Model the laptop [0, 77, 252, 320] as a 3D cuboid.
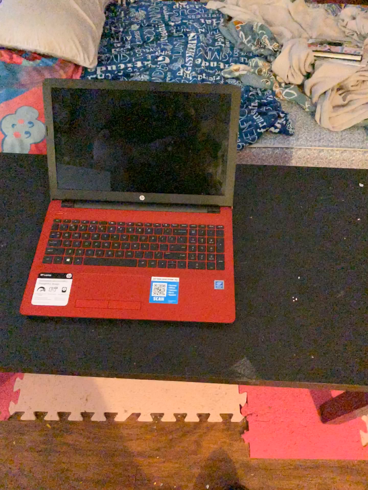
[{"bbox_3d":[-0.089,-0.096,0.689,0.375,0.170,0.411,2,59,0],"label":"laptop"}]
